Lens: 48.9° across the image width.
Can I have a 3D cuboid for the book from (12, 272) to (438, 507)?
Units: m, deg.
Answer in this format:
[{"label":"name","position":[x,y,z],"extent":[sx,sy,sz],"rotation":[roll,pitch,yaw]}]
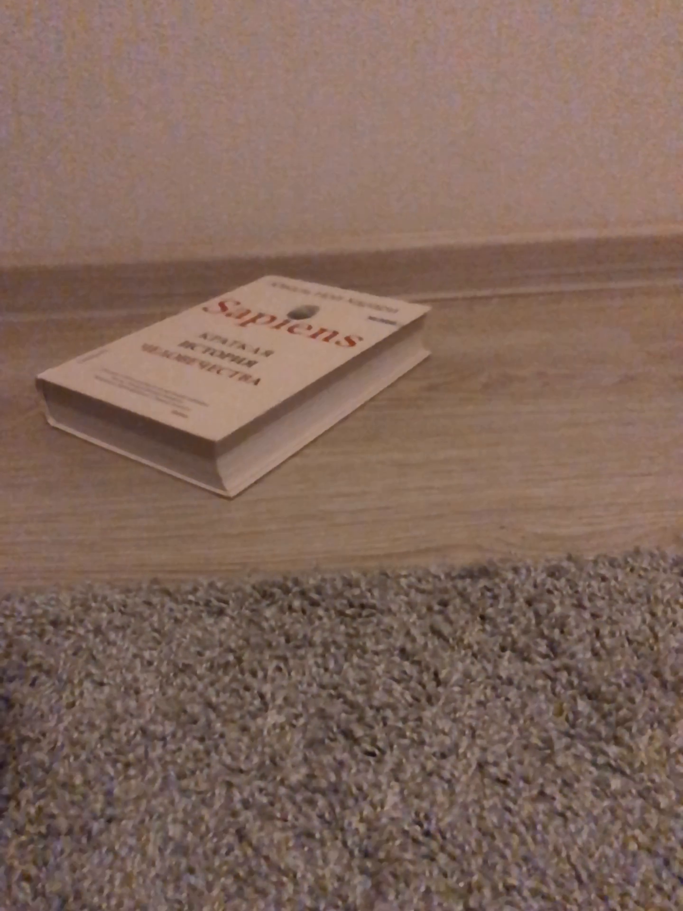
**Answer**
[{"label":"book","position":[-0.072,-0.069,0.562],"extent":[0.187,0.040,0.259],"rotation":[18,36,30]}]
